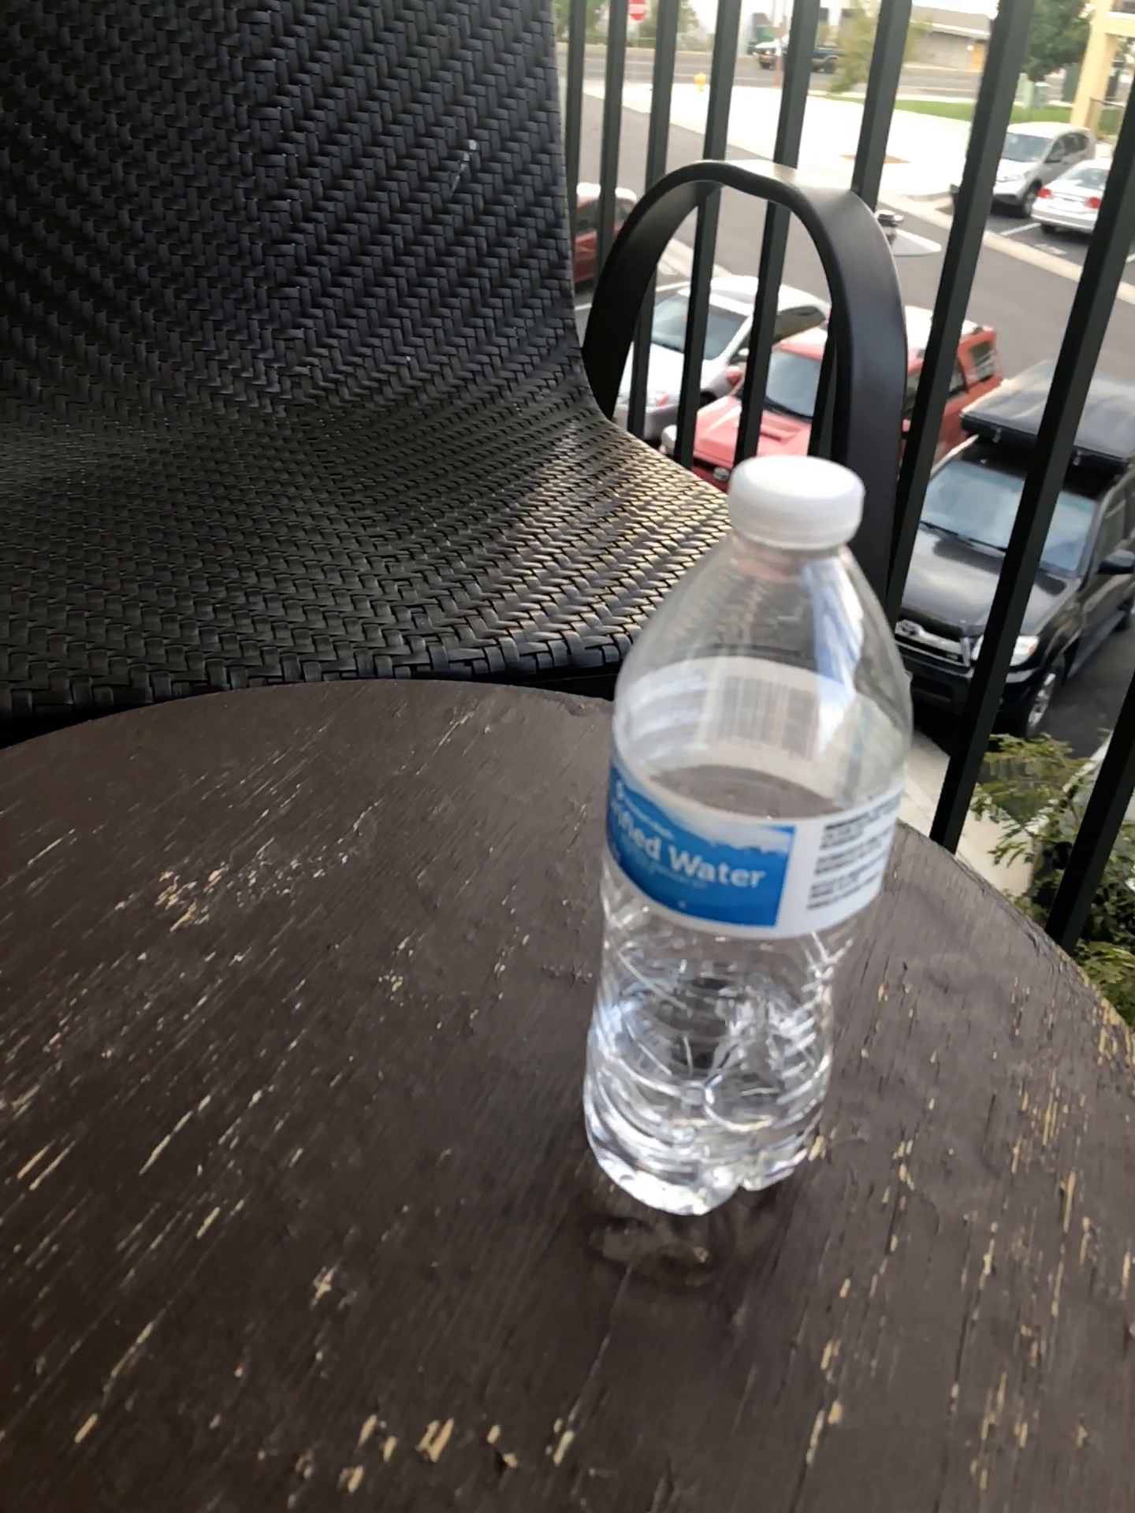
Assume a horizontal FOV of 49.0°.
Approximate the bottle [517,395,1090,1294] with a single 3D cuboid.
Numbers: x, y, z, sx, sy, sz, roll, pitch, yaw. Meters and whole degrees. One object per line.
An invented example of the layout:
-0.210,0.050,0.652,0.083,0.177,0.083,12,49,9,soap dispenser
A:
0.045,0.023,0.300,0.080,0.189,0.075,2,33,-2,bottle
